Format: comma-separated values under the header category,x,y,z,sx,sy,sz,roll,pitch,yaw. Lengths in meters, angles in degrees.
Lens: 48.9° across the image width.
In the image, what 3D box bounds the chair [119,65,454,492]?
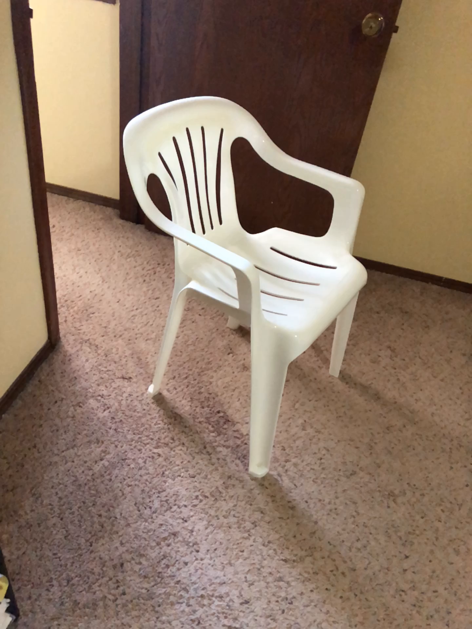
category,x,y,z,sx,sy,sz,roll,pitch,yaw
chair,0.088,-0.109,1.291,0.470,0.768,0.582,28,41,20
